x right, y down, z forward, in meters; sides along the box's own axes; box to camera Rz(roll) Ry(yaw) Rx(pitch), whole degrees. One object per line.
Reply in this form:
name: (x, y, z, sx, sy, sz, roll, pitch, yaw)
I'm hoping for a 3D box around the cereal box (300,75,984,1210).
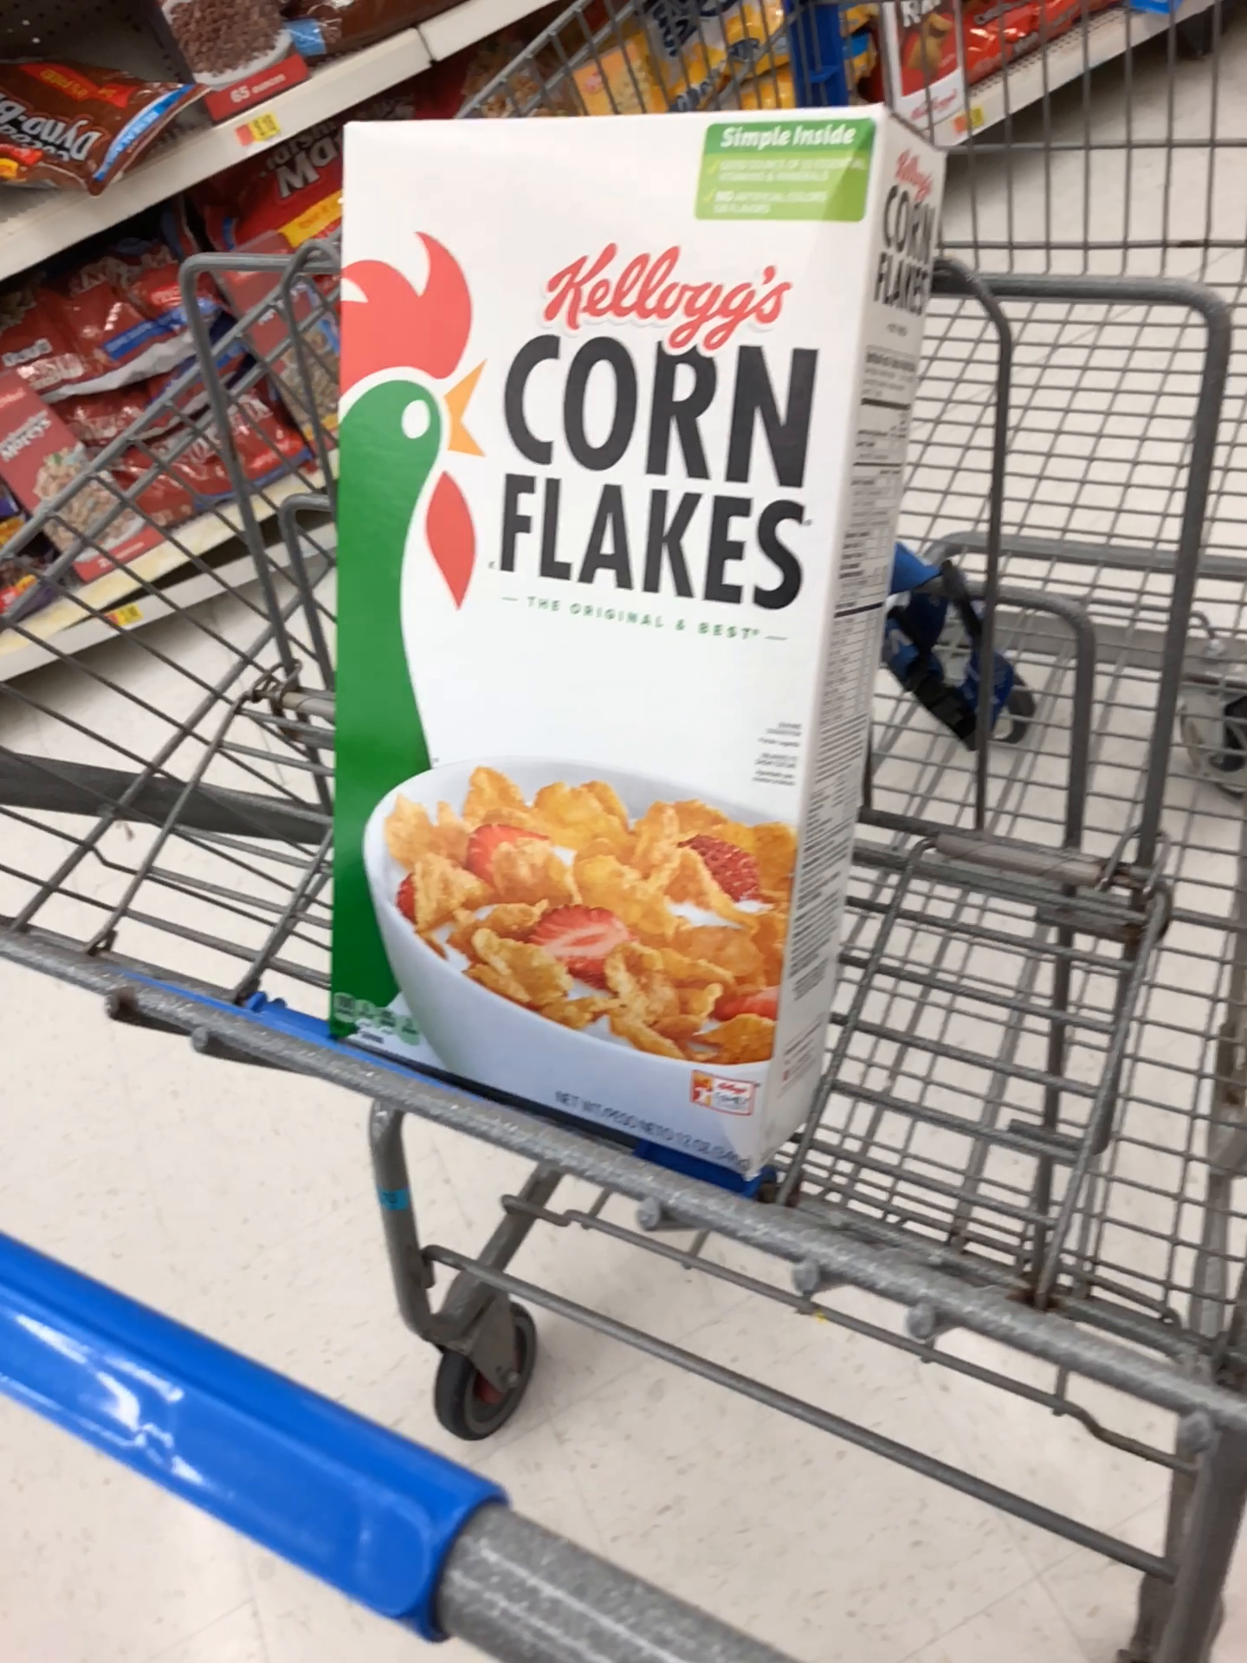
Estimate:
cereal box: (-0.010, -0.065, 0.489, 0.210, 0.340, 0.070, 13, 18, 27)
